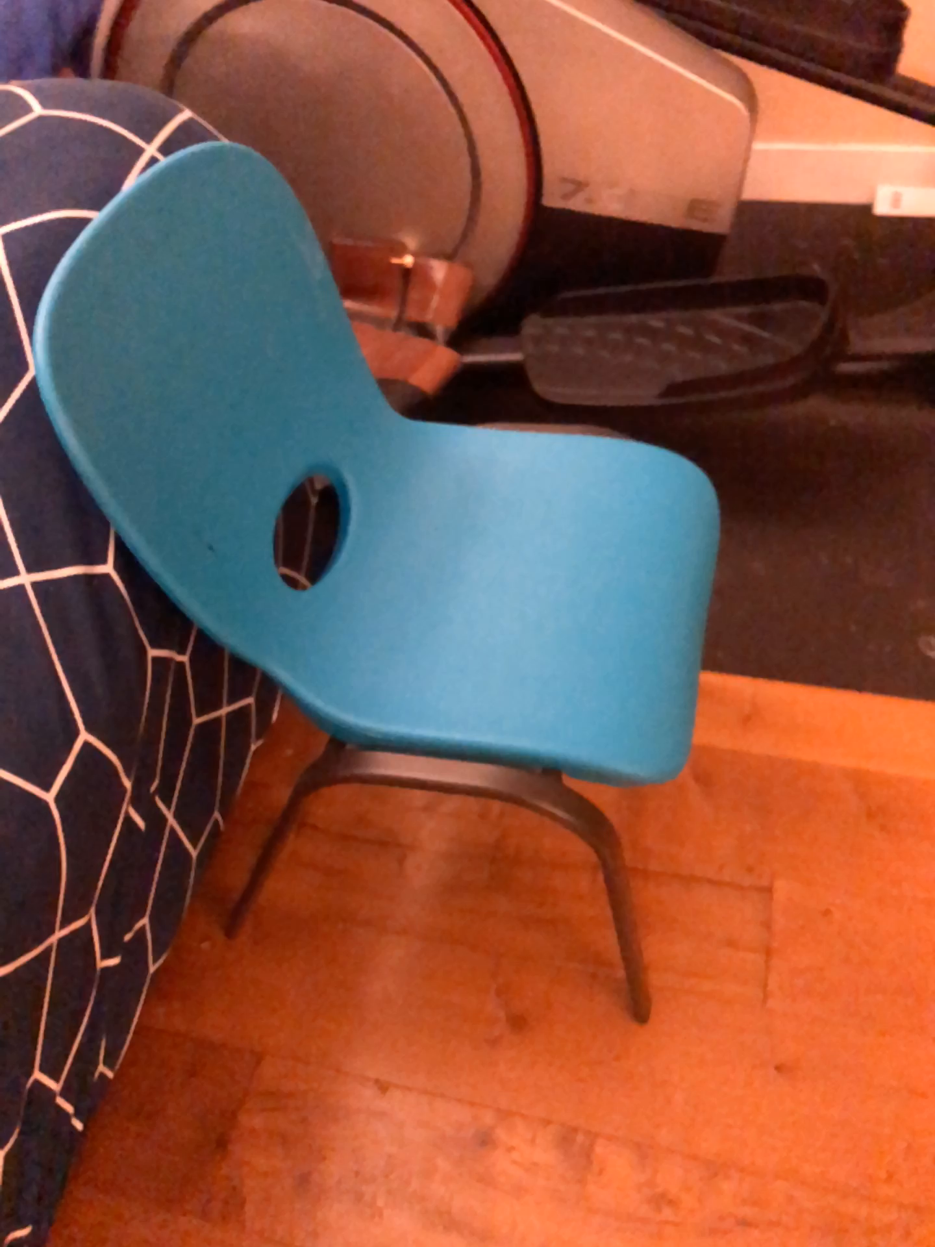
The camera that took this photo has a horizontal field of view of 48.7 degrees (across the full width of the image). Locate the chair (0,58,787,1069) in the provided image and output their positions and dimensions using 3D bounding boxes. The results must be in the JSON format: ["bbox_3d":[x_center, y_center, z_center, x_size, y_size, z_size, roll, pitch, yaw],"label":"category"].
[{"bbox_3d":[-0.018,-0.029,0.732,0.400,0.527,0.432,5,49,11],"label":"chair"}]
